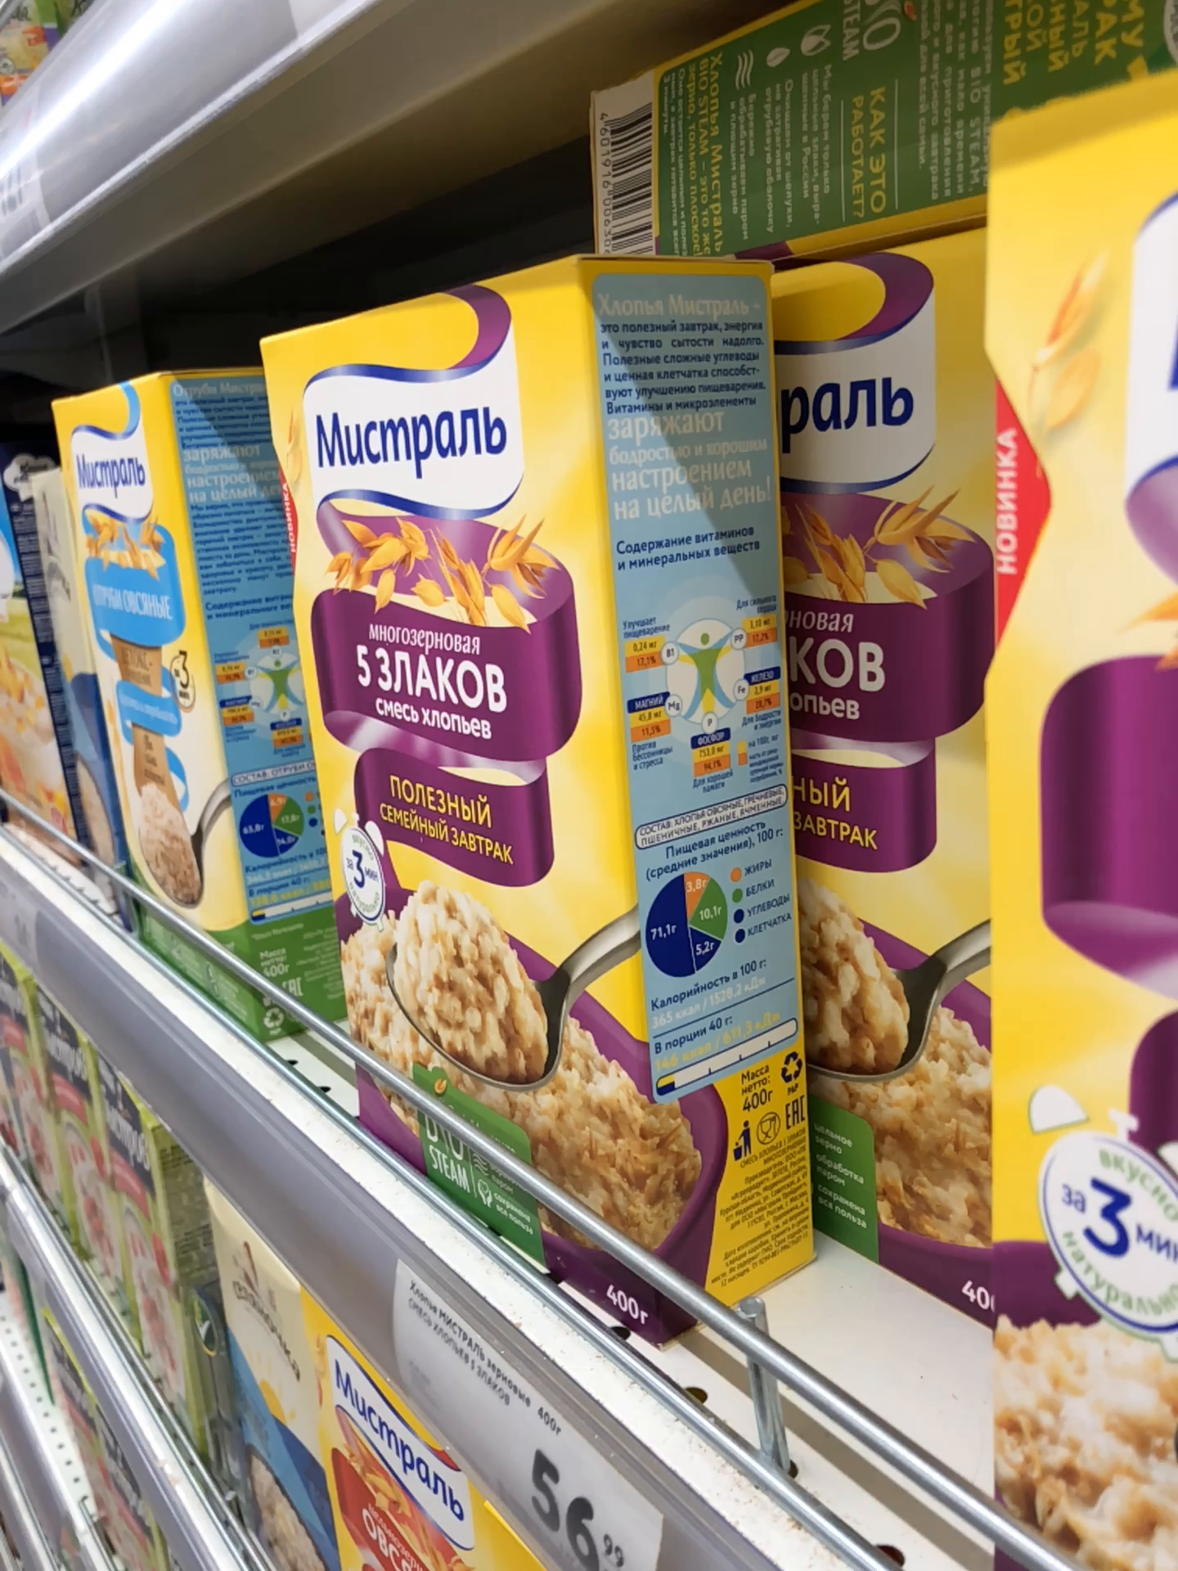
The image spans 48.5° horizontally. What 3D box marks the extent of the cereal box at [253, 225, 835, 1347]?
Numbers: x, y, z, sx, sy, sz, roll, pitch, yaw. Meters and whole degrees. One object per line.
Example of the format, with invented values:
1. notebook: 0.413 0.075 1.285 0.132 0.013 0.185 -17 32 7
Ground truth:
1. cereal box: -0.013 -0.004 0.303 0.050 0.209 0.130 -14 16 -34
